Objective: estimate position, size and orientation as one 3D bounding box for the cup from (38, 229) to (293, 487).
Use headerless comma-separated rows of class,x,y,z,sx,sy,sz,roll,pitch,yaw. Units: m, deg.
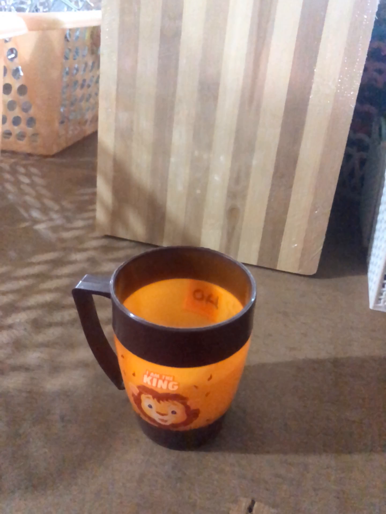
cup,-0.010,0.047,0.218,0.100,0.090,0.060,12,34,15
